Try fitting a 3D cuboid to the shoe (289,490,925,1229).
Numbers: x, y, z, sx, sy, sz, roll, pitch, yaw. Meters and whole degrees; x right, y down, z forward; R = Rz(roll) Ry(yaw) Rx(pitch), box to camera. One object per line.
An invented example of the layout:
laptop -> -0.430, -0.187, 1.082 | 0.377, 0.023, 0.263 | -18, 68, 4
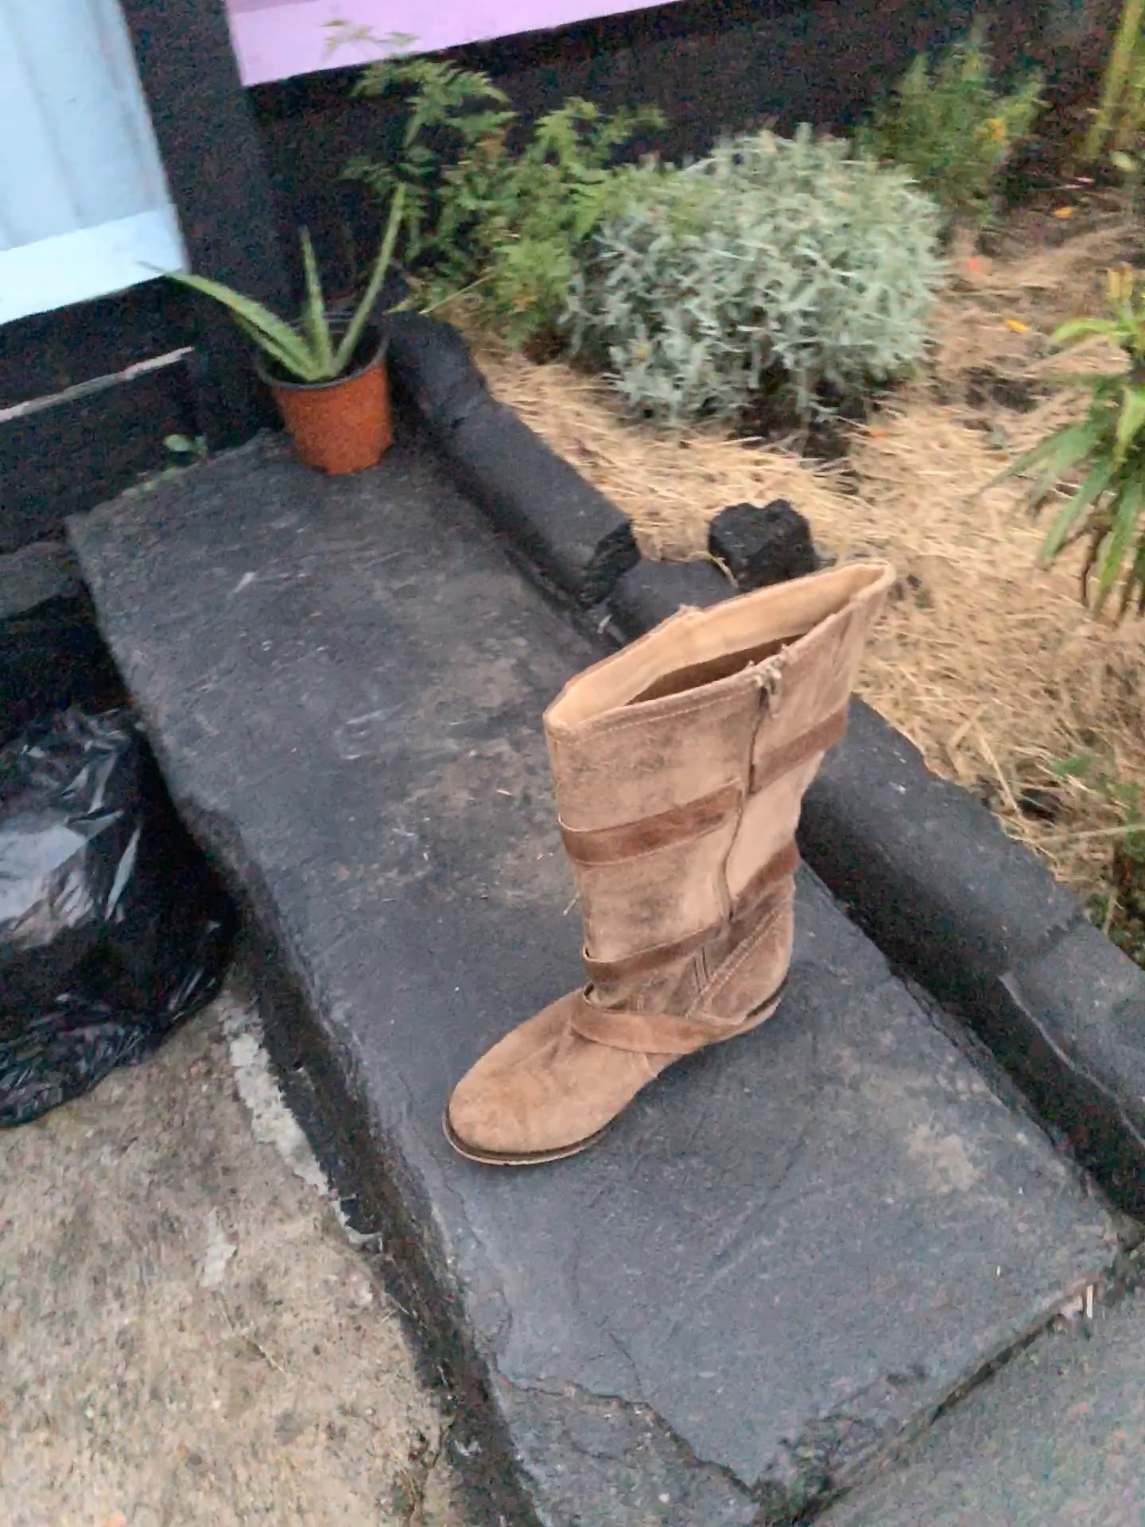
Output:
shoe -> 0.028, 0.074, 0.656 | 0.271, 0.376, 0.101 | -24, 50, -18
